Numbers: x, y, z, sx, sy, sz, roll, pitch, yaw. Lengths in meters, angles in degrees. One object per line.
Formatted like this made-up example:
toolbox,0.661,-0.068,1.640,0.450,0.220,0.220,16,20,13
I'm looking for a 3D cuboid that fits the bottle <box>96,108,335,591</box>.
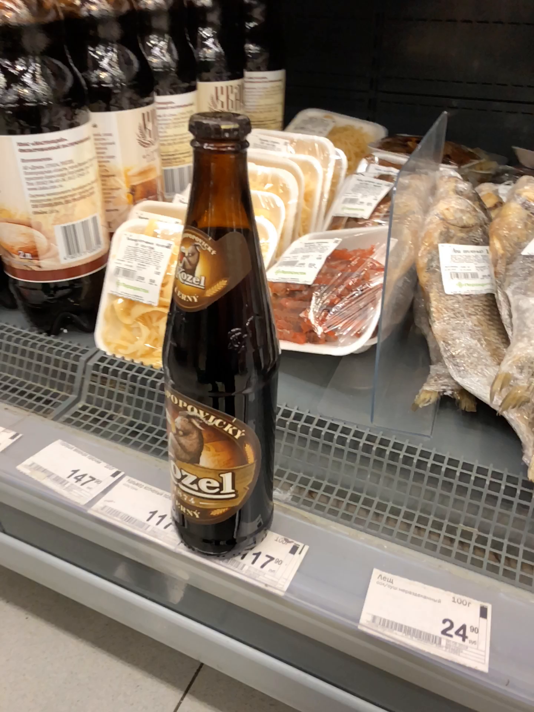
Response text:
bottle,-0.024,0.004,0.305,0.070,0.231,0.070,1,31,-1
